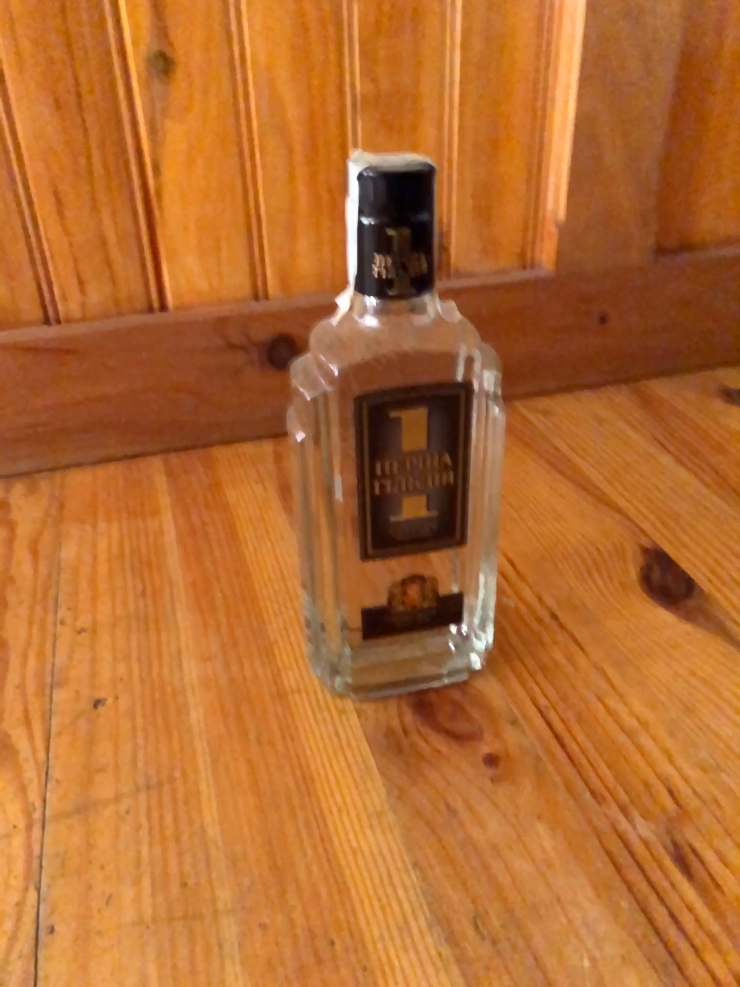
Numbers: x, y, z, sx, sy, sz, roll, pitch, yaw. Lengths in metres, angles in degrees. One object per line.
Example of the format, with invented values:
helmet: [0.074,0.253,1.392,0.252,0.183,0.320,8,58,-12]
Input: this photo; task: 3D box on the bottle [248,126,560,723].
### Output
bottle: [0.012,-0.018,0.355,0.100,0.249,0.060,-7,32,-8]
